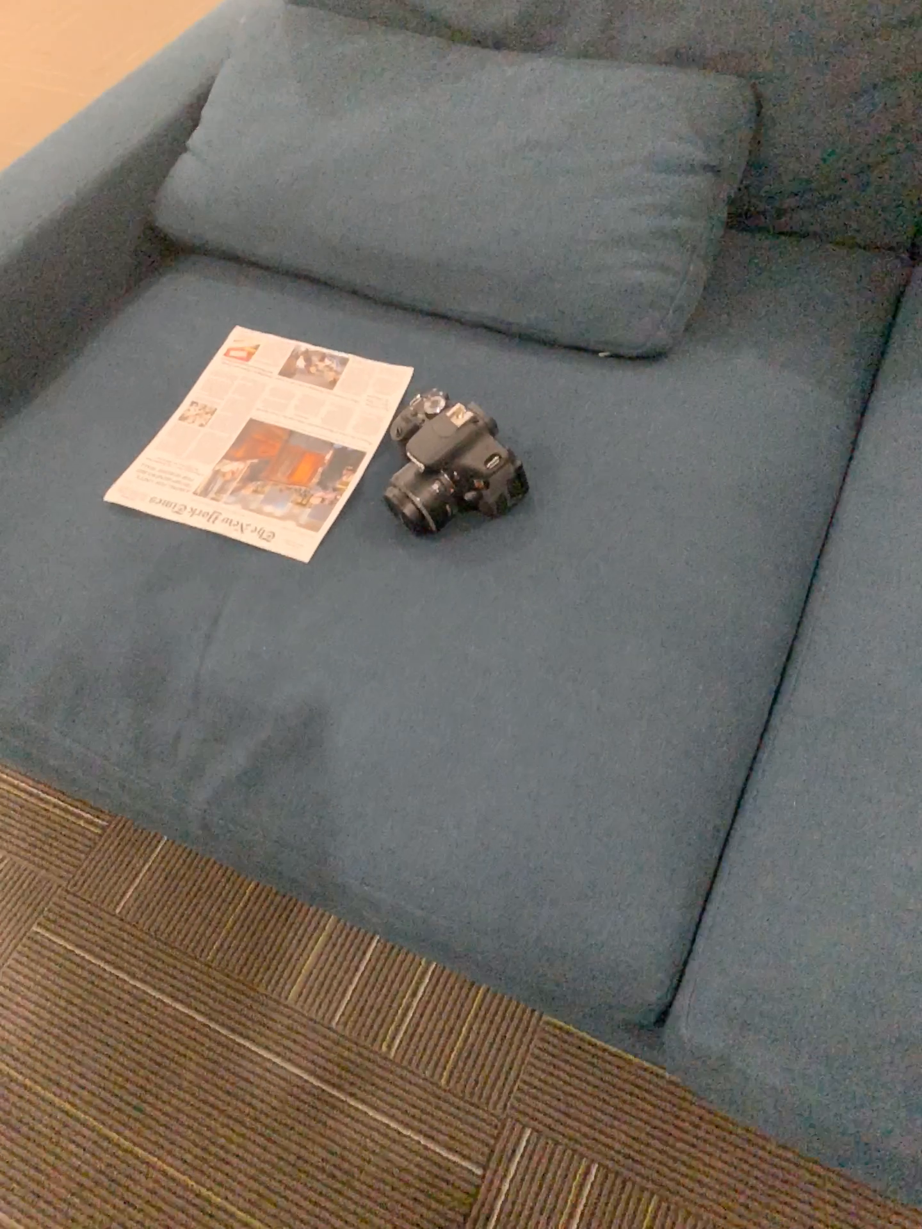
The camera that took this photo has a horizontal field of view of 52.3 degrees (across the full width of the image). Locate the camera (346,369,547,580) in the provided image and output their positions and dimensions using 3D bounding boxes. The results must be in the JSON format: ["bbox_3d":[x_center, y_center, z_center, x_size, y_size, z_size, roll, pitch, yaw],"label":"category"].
[{"bbox_3d":[-0.011,-0.126,0.848,0.108,0.100,0.120,-42,60,-7],"label":"camera"}]
